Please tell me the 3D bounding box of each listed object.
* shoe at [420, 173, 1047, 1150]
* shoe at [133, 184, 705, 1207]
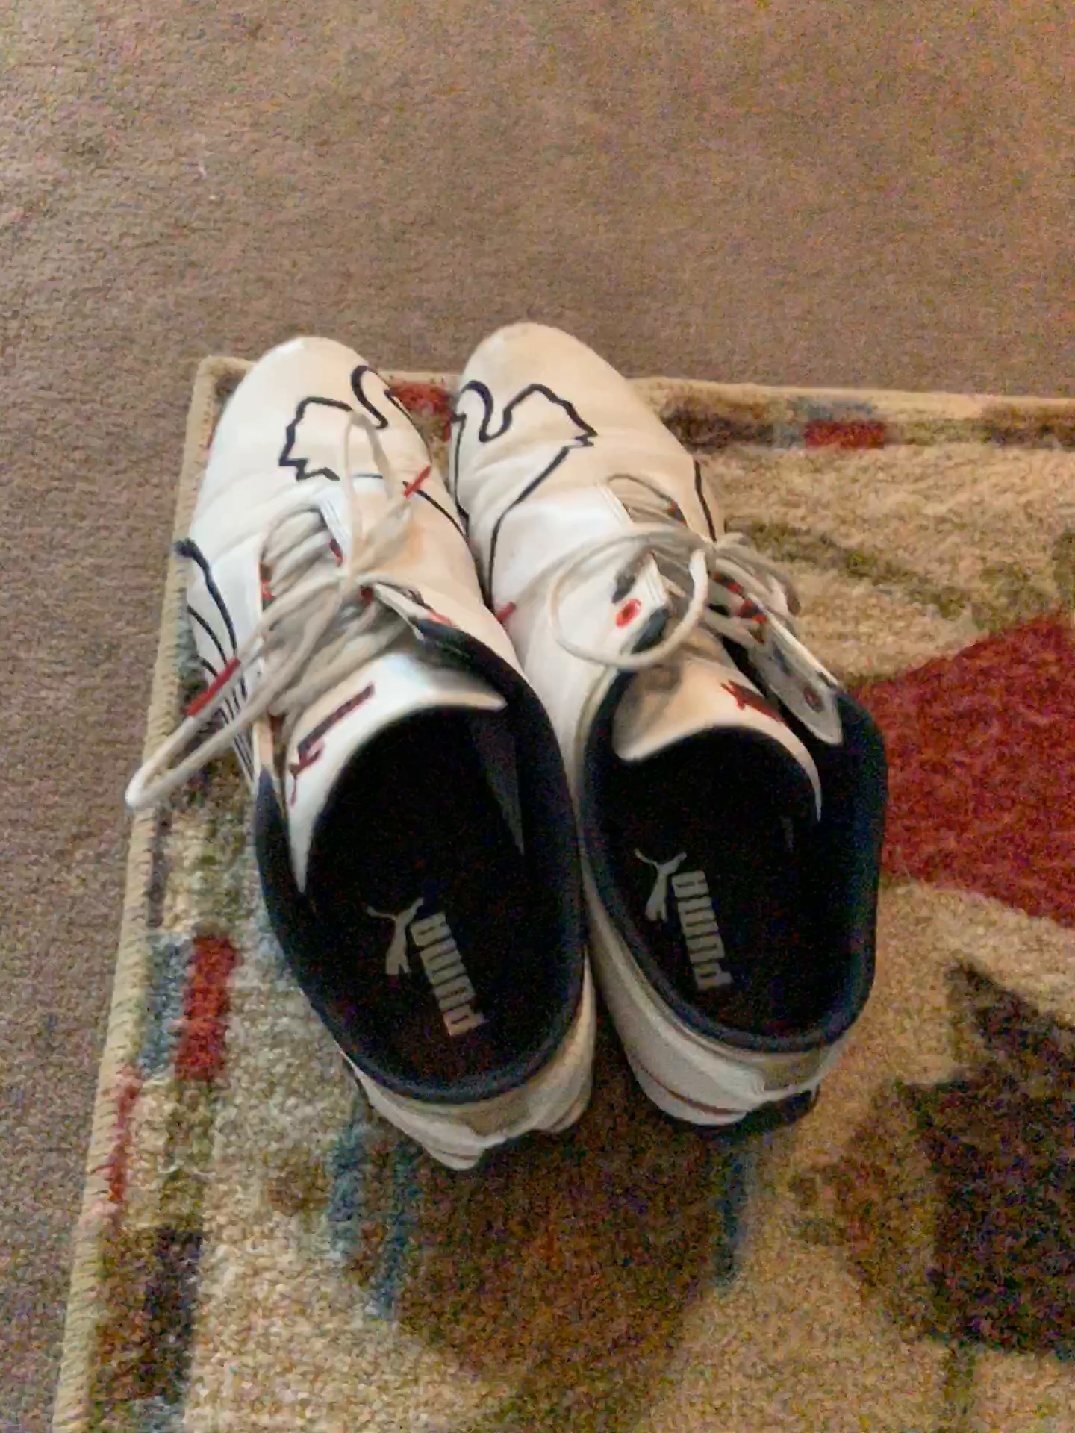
[{"bbox_3d":[0.042,-0.025,0.362,0.100,0.090,0.291,-11,71,-10],"label":"shoe"},{"bbox_3d":[-0.048,-0.014,0.356,0.100,0.100,0.291,-11,71,-10],"label":"shoe"}]
